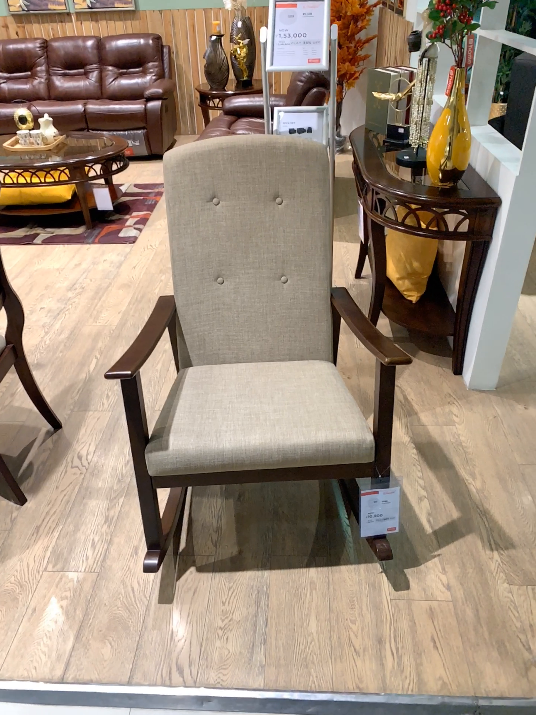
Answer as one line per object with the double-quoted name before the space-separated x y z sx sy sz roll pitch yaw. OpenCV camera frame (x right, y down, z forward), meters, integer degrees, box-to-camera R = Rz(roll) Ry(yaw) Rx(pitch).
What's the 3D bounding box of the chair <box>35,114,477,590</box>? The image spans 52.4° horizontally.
"chair" -0.025 -0.051 1.522 0.730 0.975 0.844 -4 35 -2
